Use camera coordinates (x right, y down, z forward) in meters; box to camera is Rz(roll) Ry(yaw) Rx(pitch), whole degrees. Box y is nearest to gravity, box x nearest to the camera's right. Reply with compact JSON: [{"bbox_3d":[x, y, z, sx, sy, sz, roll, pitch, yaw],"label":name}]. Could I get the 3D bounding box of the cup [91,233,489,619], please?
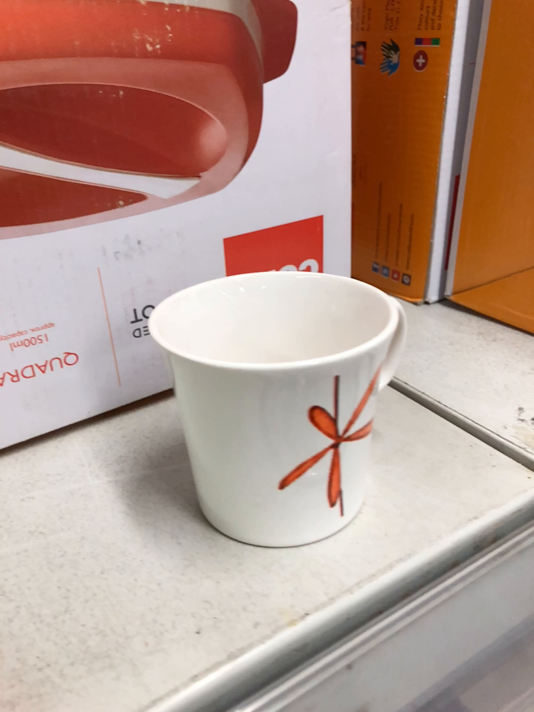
[{"bbox_3d":[0.011,0.011,0.197,0.101,0.070,0.070,-25,34,-35],"label":"cup"}]
